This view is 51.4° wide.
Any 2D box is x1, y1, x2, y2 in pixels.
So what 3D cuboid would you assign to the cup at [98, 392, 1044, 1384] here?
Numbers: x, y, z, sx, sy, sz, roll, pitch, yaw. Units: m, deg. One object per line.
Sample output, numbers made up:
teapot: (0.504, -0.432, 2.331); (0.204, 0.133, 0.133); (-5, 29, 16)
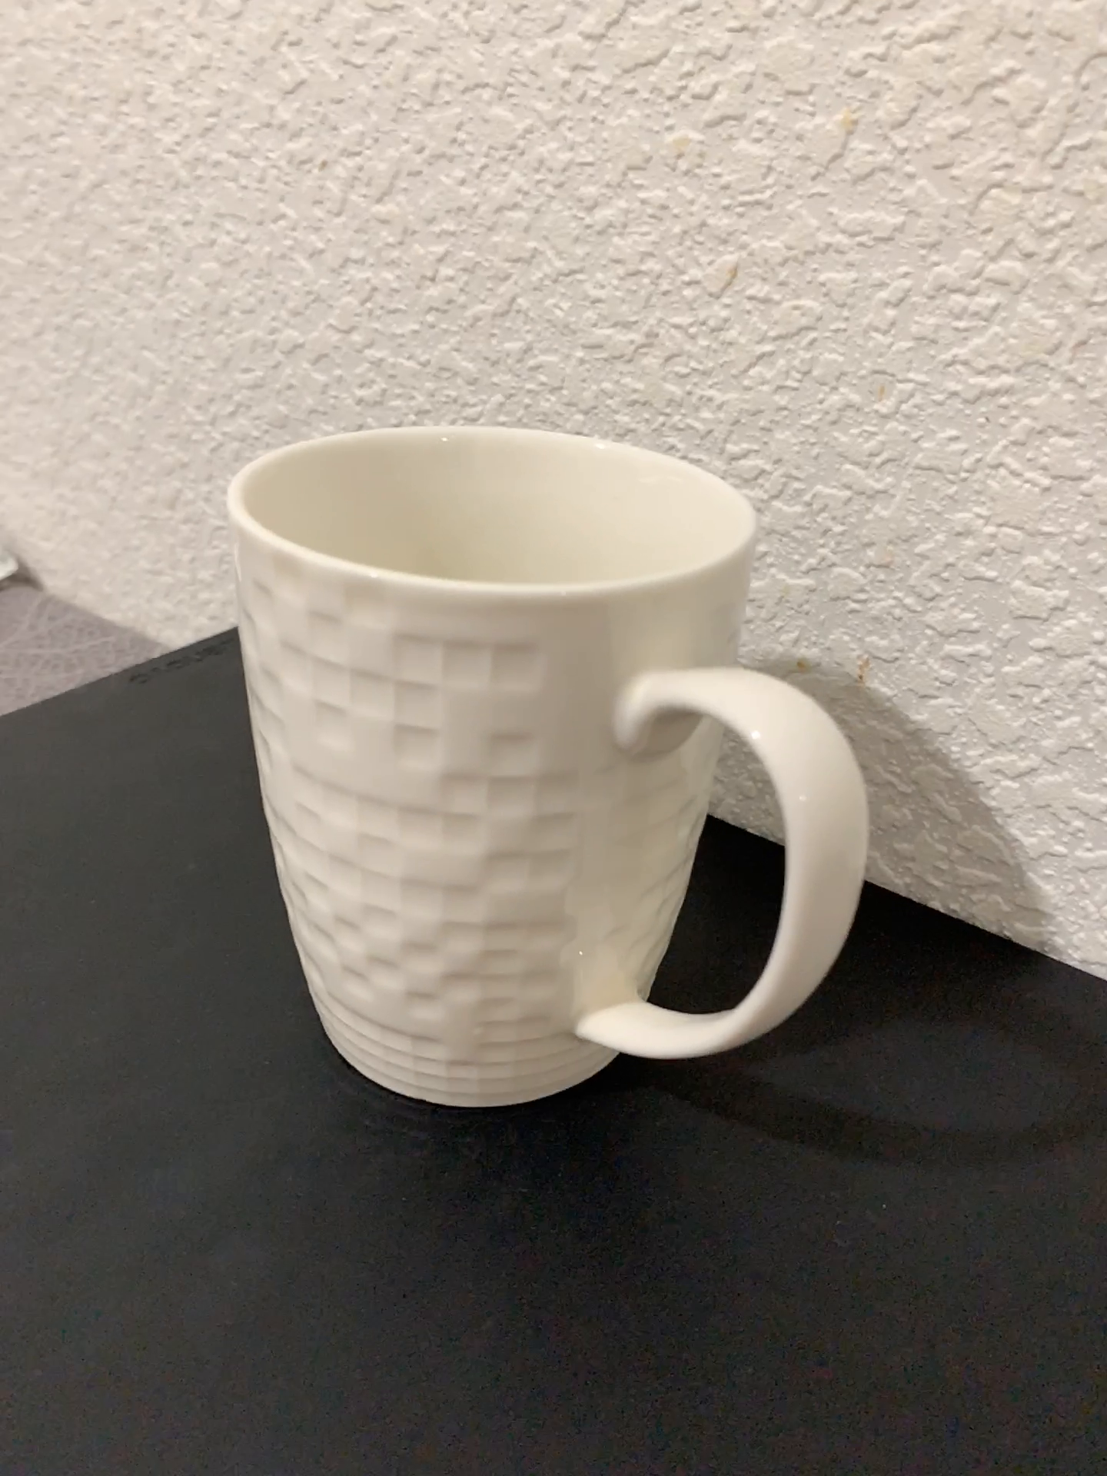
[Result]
cup: (-0.003, 0.011, 0.199); (0.120, 0.105, 0.081); (27, 38, 36)
